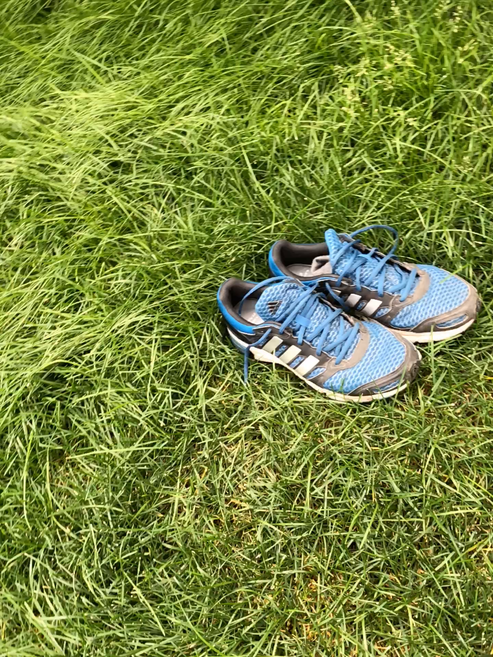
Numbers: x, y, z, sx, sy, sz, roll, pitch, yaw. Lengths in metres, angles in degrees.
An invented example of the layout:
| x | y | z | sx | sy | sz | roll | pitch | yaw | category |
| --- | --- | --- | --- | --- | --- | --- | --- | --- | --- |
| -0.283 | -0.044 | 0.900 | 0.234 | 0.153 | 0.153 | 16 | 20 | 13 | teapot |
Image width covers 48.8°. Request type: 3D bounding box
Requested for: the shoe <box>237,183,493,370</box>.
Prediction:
| x | y | z | sx | sy | sz | roll | pitch | yaw | category |
| --- | --- | --- | --- | --- | --- | --- | --- | --- | --- |
| 0.150 | -0.069 | 0.686 | 0.280 | 0.120 | 0.120 | 20 | 72 | 22 | shoe |

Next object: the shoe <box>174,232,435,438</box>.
| x | y | z | sx | sy | sz | roll | pitch | yaw | category |
| --- | --- | --- | --- | --- | --- | --- | --- | --- | --- |
| 0.070 | 0.005 | 0.664 | 0.270 | 0.120 | 0.120 | 24 | 74 | 23 | shoe |
